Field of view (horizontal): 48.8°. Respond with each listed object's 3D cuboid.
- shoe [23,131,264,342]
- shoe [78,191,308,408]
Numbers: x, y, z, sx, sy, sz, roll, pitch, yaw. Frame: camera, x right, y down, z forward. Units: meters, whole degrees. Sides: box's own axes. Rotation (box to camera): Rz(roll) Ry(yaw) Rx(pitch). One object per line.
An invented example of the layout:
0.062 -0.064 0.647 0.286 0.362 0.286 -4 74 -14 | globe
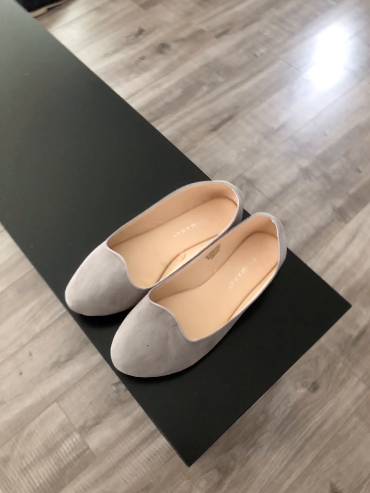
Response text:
-0.040 -0.016 0.486 0.253 0.090 0.100 -36 68 -17 | shoe
0.015 0.053 0.471 0.250 0.060 0.100 -39 69 -18 | shoe
